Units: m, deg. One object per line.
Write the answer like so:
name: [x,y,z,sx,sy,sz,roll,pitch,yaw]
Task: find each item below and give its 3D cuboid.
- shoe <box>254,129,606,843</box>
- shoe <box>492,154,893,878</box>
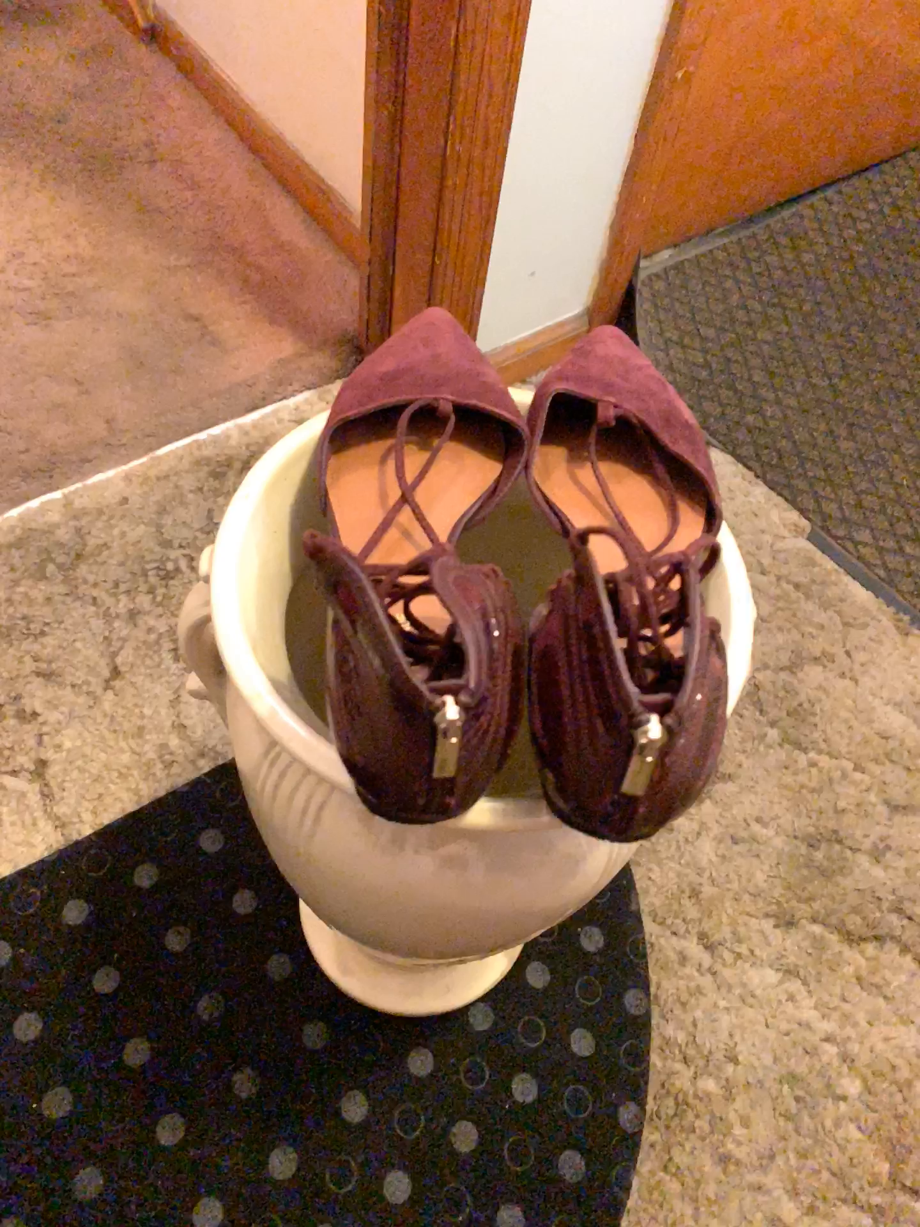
shoe: [-0.012,-0.058,0.359,0.092,0.099,0.262,4,57,-6]
shoe: [0.070,-0.048,0.360,0.092,0.099,0.262,6,57,-4]
